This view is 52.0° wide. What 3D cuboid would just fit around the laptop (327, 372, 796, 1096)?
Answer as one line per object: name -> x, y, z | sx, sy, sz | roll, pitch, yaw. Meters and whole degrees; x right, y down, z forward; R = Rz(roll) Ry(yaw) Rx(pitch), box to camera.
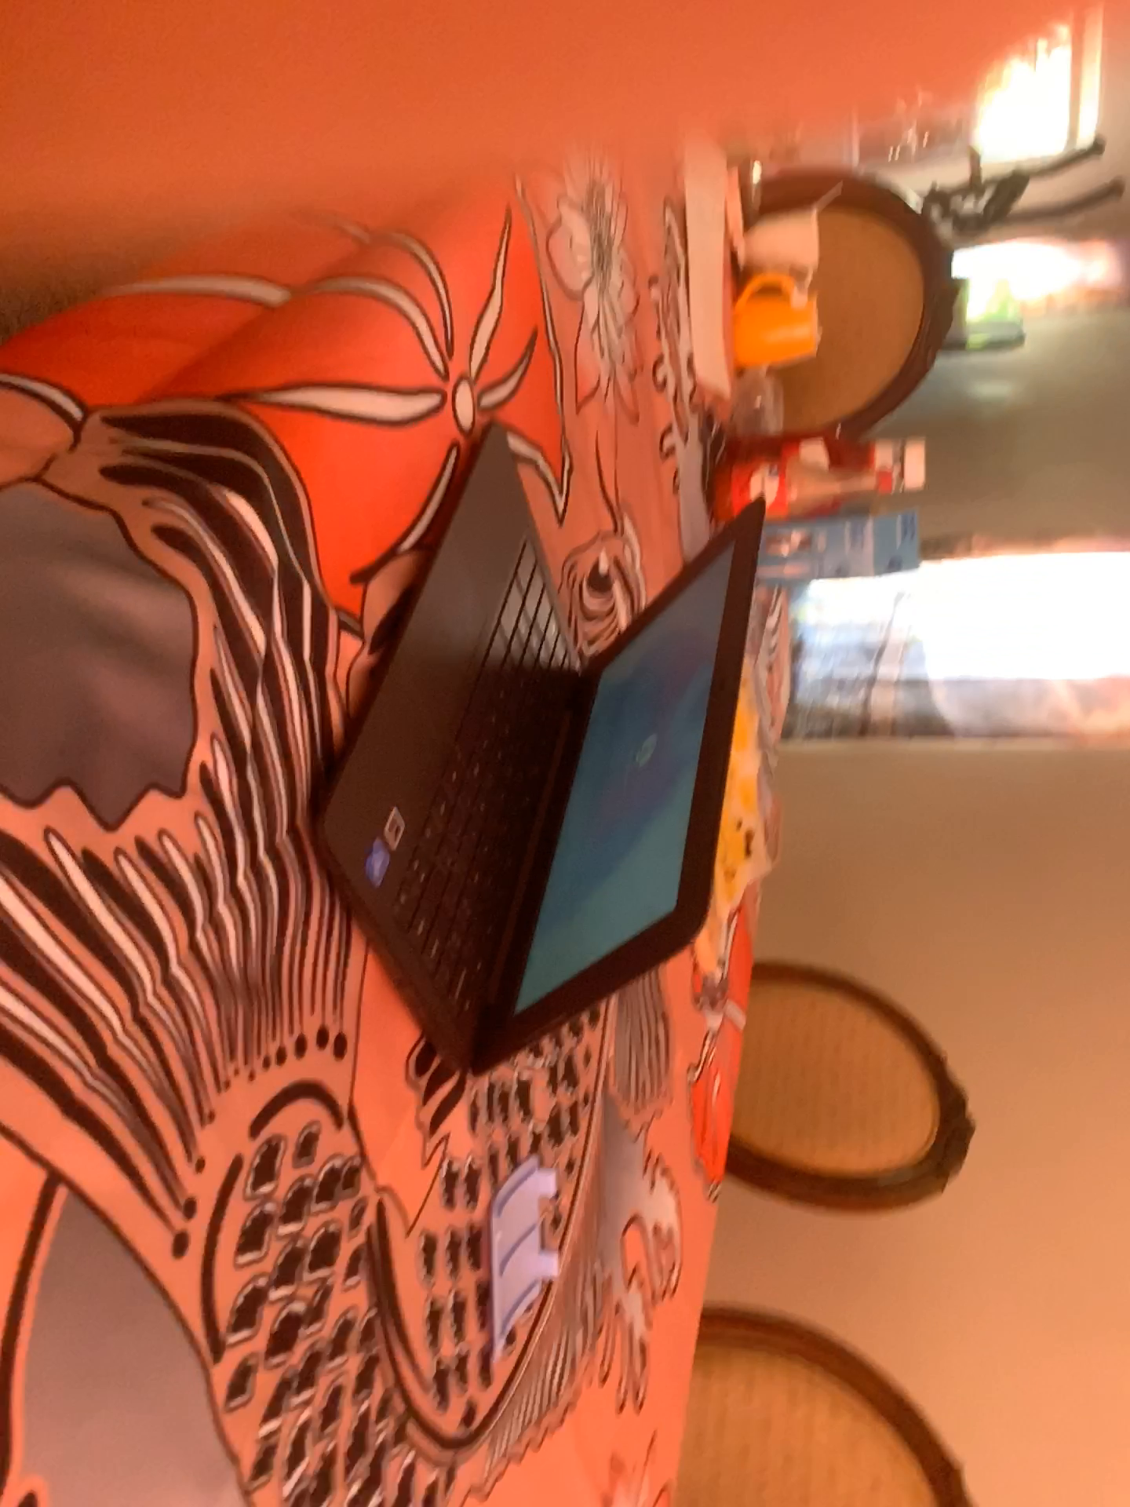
laptop -> 0.028, -0.015, 0.604 | 0.211, 0.144, 0.300 | 72, 25, -45
